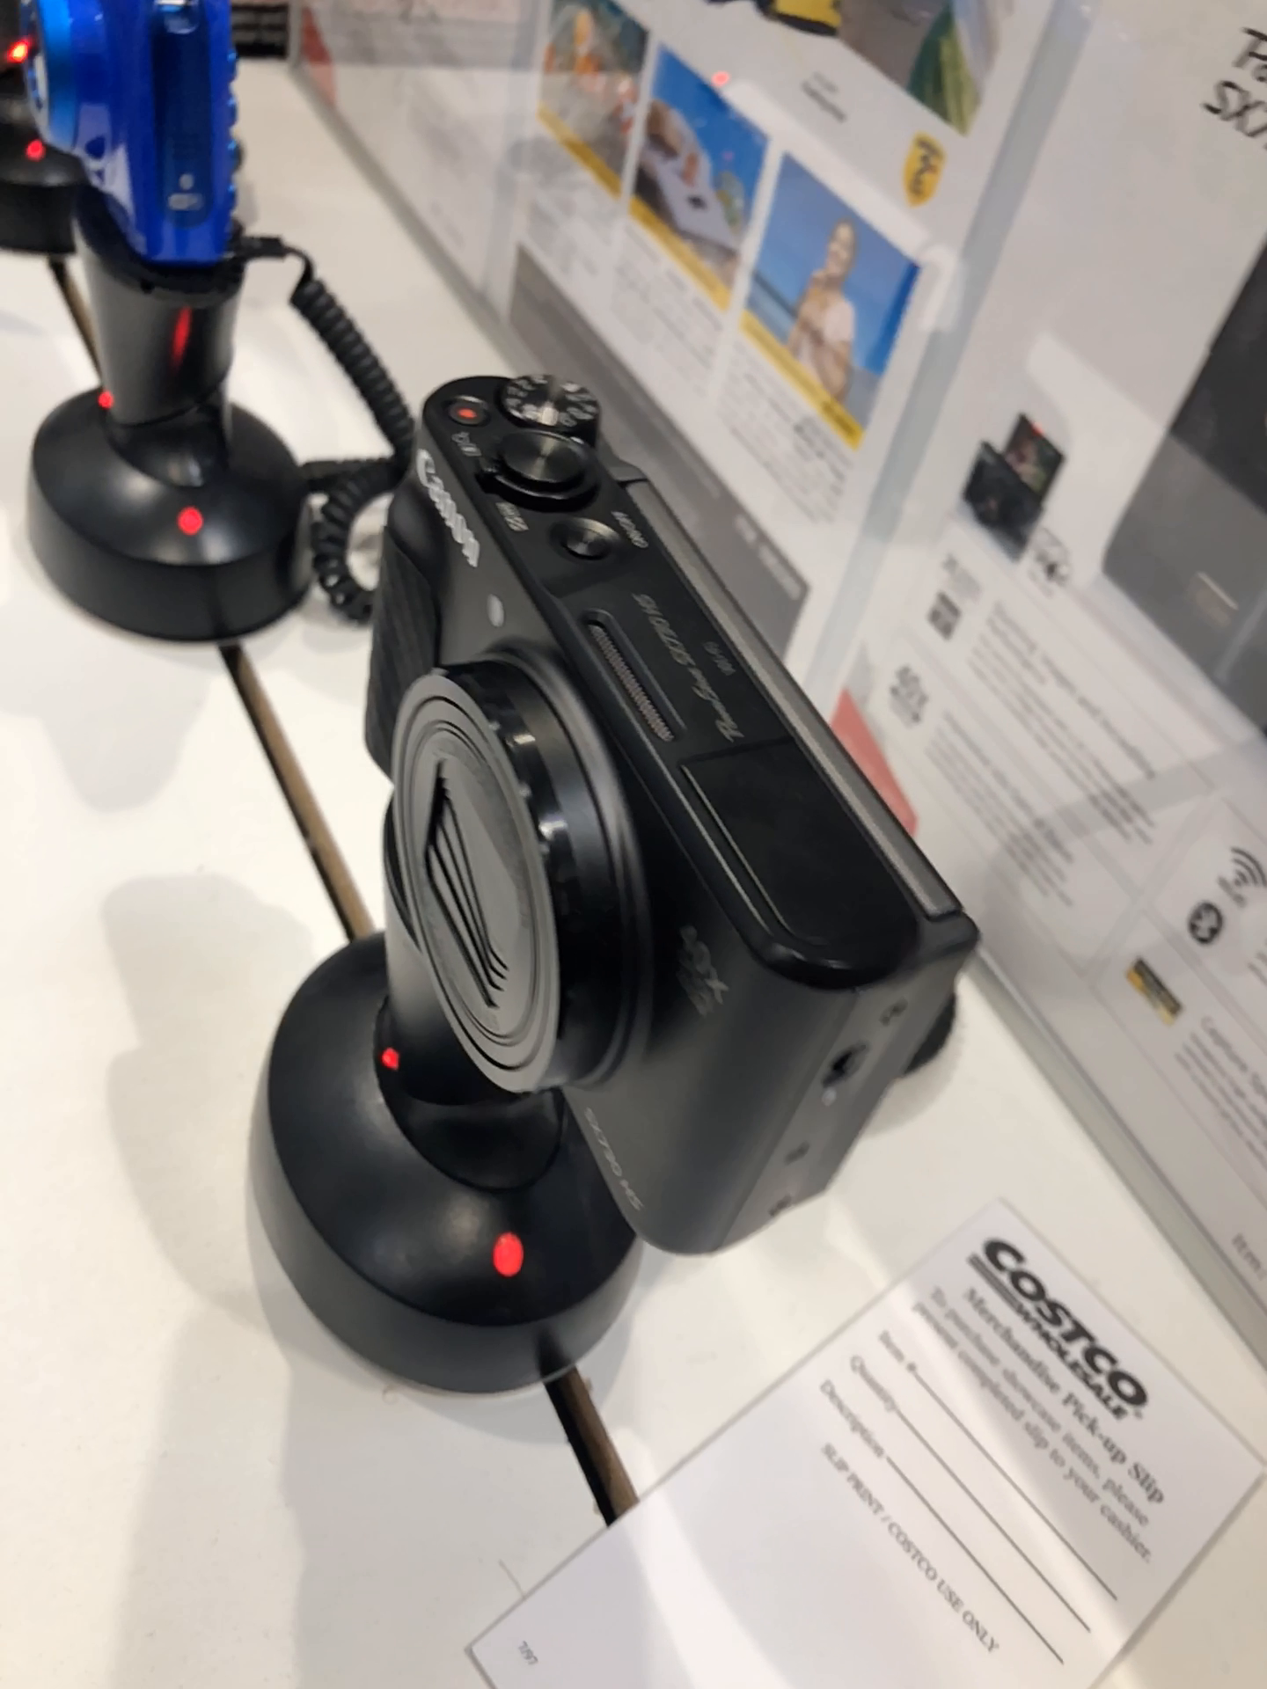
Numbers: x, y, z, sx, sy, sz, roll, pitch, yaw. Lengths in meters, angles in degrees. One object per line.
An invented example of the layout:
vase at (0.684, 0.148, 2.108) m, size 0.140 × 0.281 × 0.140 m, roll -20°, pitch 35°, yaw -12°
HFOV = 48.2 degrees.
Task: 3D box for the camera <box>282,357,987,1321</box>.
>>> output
camera at (-0.011, -0.007, 0.186) m, size 0.040 × 0.060 × 0.111 m, roll -11°, pitch 51°, yaw -25°
